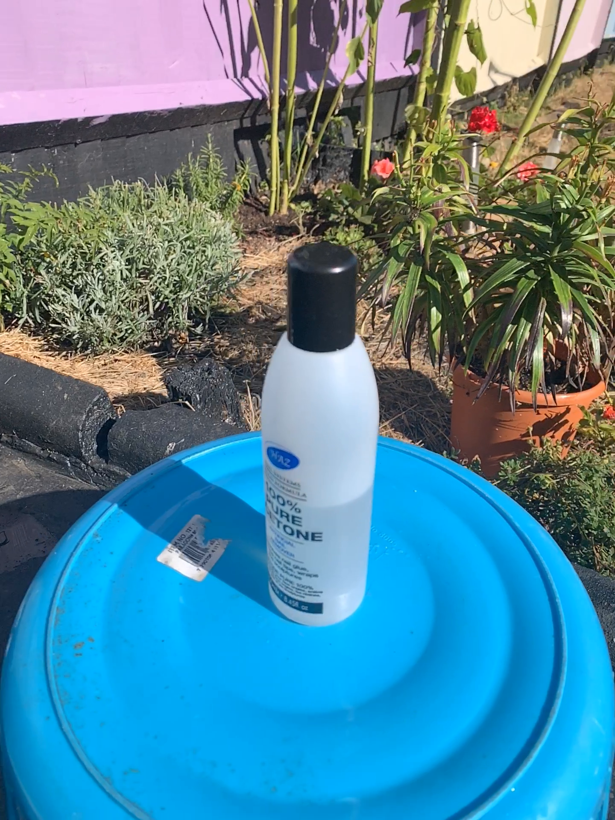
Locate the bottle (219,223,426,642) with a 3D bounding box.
[{"bbox_3d":[0.006,0.014,0.296,0.060,0.178,0.060,1,30,0],"label":"bottle"}]
